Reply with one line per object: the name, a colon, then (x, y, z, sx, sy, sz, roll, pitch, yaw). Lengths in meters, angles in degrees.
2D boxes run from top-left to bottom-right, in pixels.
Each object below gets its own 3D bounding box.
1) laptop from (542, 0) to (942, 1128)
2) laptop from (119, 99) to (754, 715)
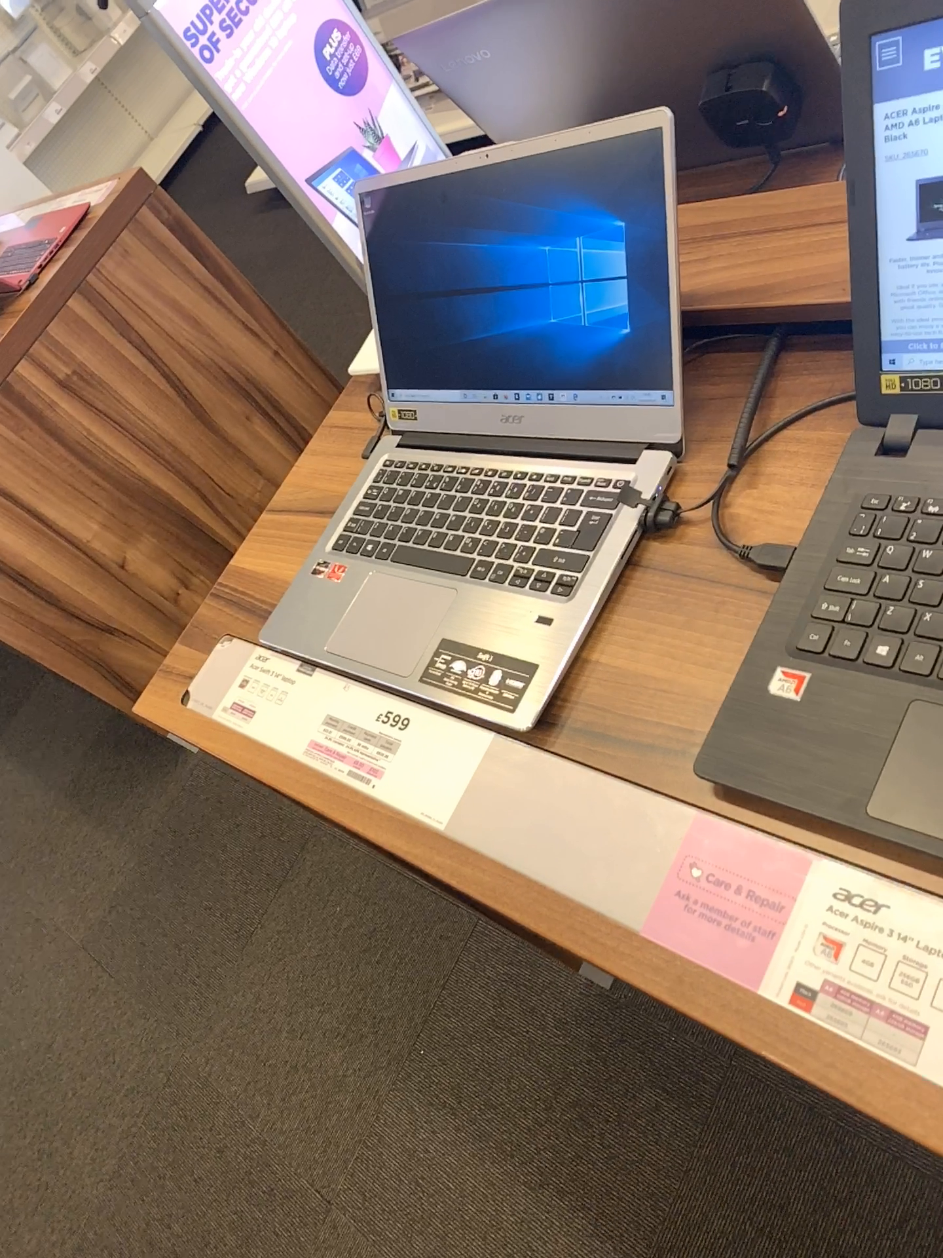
laptop: (0.289, -0.095, 0.377, 0.372, 0.191, 0.356, 10, 67, 42)
laptop: (-0.029, -0.163, 0.709, 0.309, 0.153, 0.359, 14, 68, 44)
